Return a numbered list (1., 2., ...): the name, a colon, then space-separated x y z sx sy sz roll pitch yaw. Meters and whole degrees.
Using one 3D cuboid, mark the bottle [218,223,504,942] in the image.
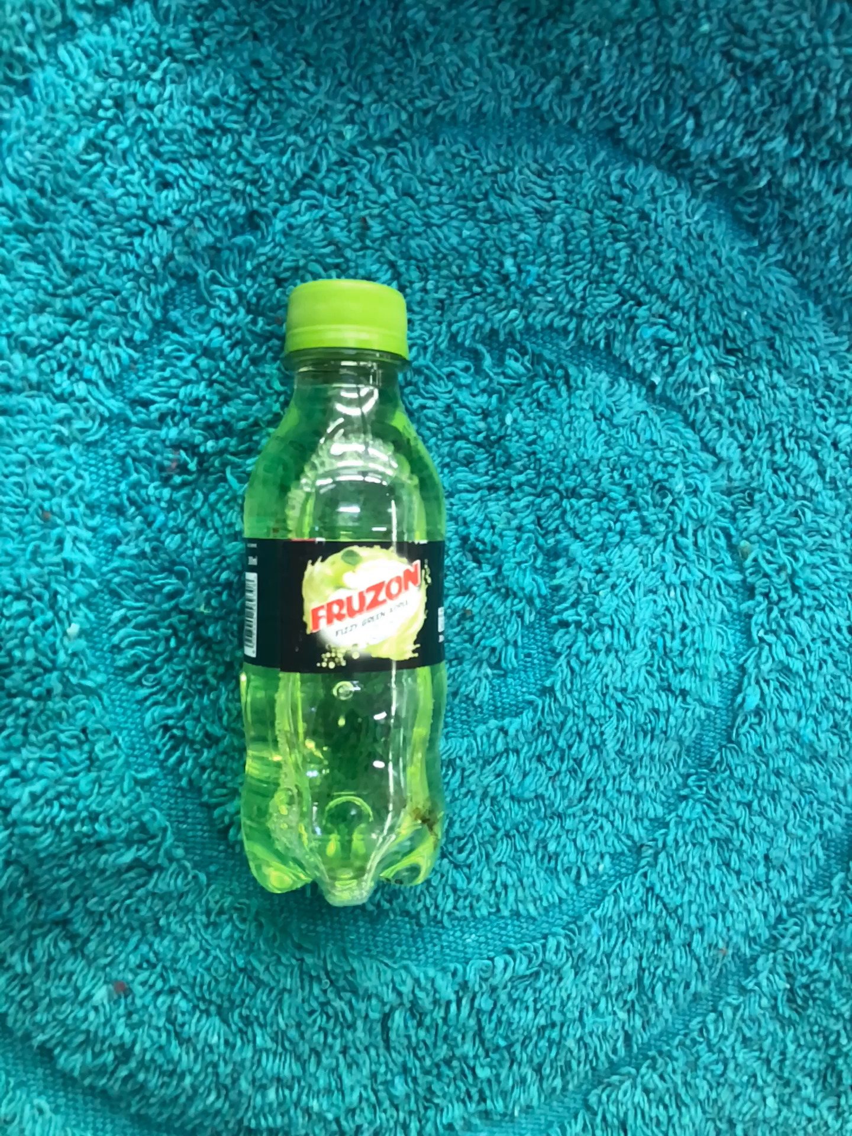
1. bottle: -0.020 0.004 0.241 0.060 0.050 0.160 1 94 -16
